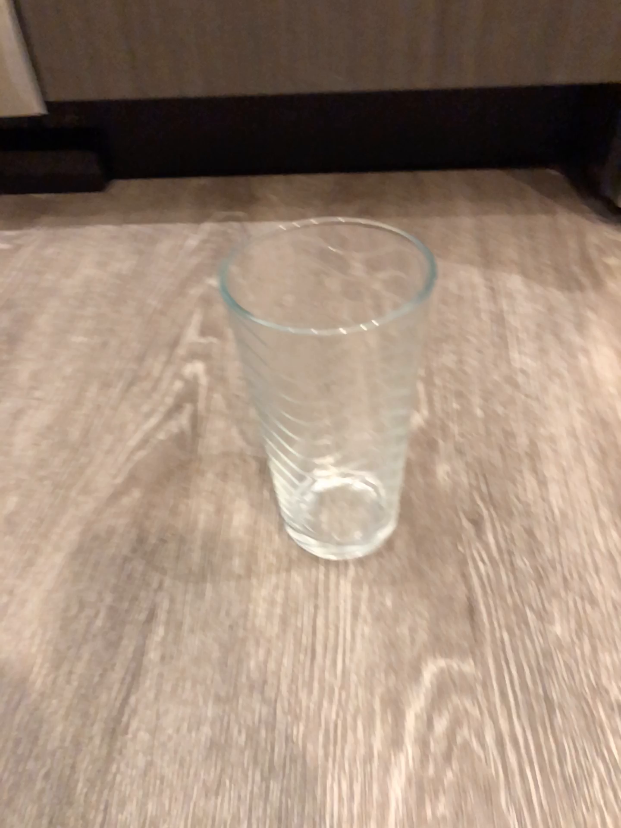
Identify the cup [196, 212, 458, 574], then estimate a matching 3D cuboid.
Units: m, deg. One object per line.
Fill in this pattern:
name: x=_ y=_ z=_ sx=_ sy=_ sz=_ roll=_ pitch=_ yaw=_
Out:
cup: x=0.010 y=-0.005 z=0.317 sx=0.090 sy=0.139 sz=0.090 roll=-2 pitch=43 yaw=2
